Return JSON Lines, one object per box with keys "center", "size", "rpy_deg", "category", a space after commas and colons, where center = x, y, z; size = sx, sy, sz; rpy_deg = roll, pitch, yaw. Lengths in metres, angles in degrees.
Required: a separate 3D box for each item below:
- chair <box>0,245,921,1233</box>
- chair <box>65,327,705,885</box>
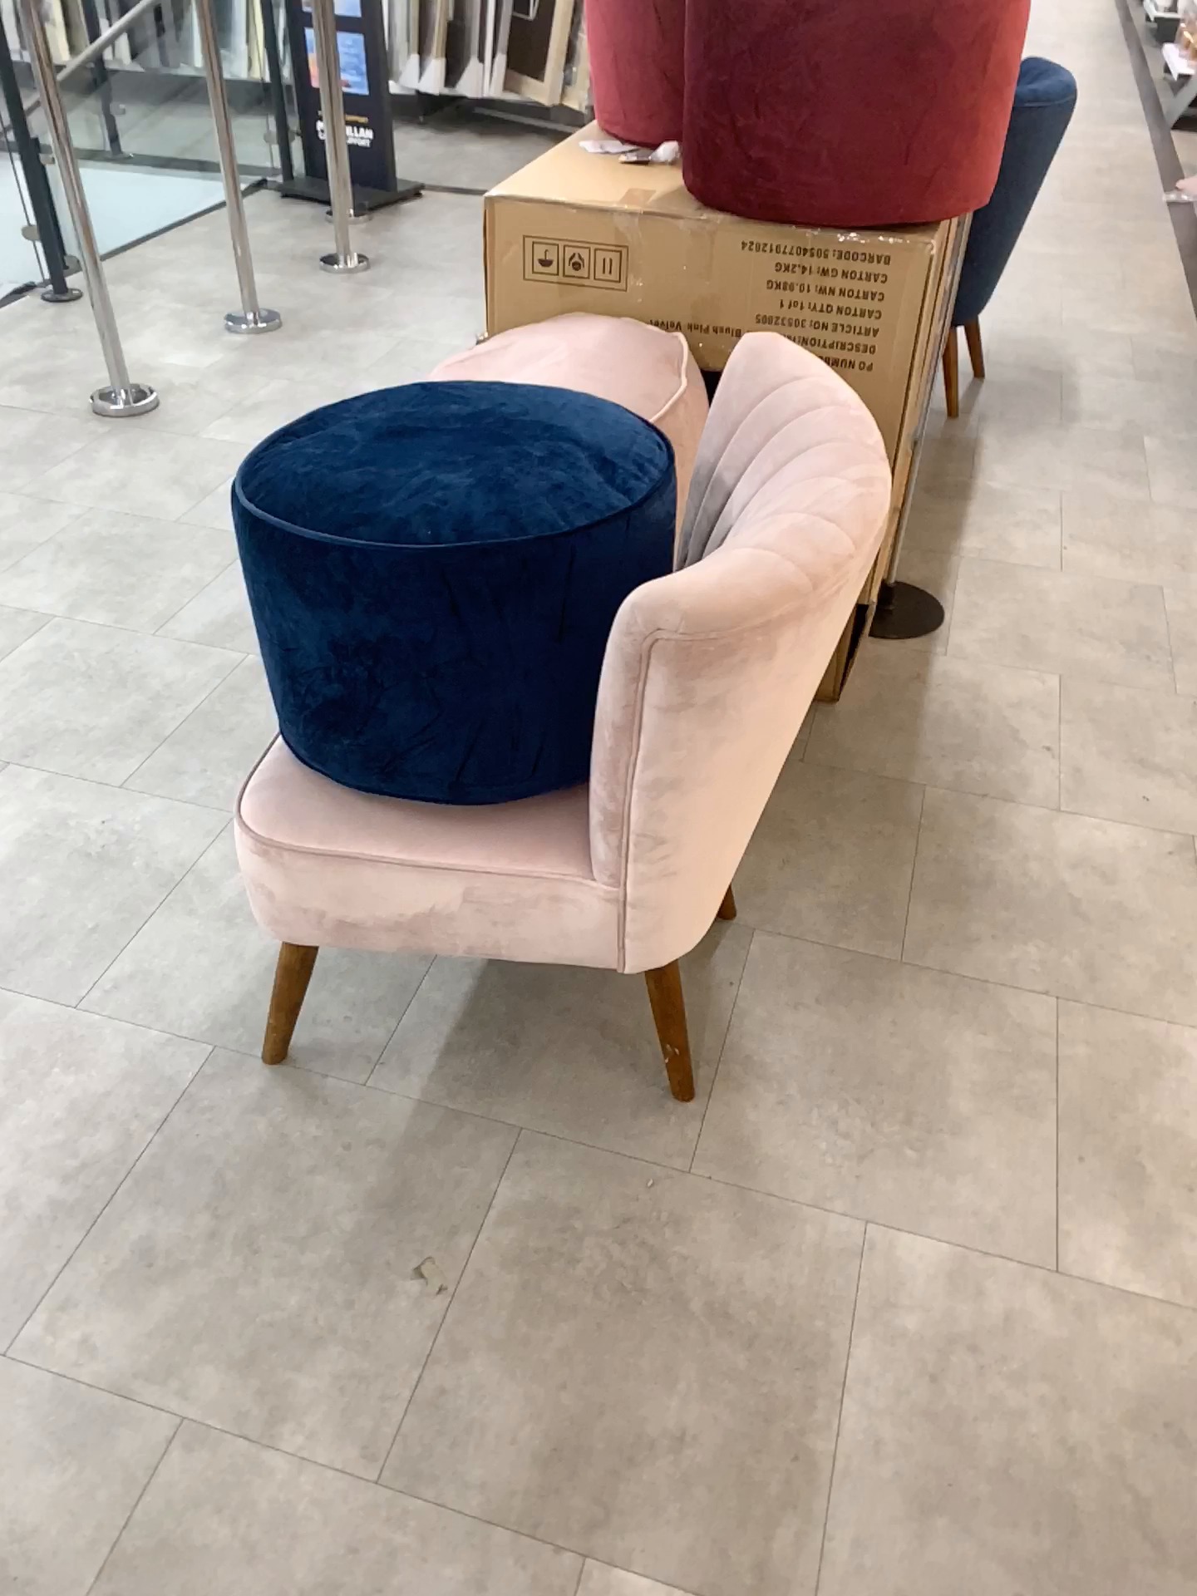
{"center": [-0.090, -0.095, 1.467], "size": [0.744, 0.848, 0.661], "rpy_deg": [11, 40, 12], "category": "chair"}
{"center": [-0.196, -0.247, 1.386], "size": [0.504, 0.363, 0.479], "rpy_deg": [13, 40, 14], "category": "chair"}
